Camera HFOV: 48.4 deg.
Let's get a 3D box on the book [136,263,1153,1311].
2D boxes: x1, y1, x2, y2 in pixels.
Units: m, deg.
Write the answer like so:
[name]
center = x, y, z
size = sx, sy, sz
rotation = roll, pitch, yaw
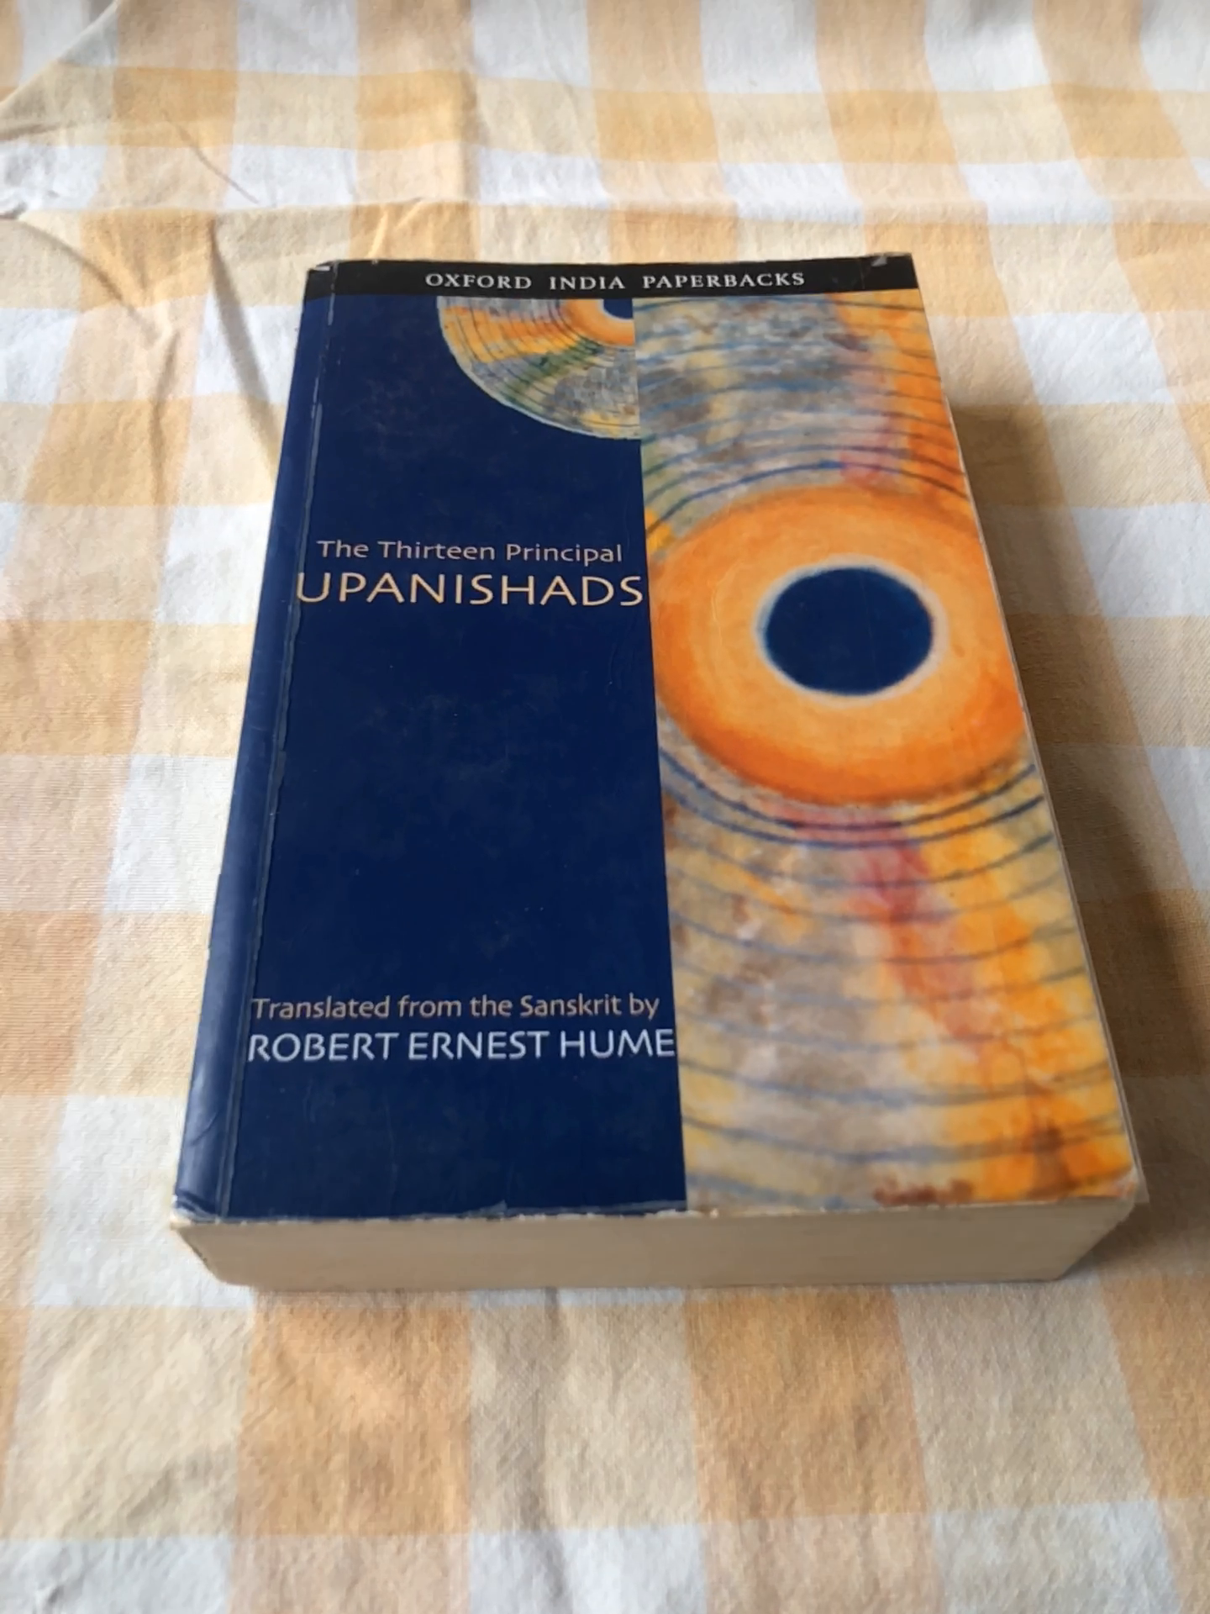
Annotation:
[book]
center = 0.003, -0.020, 0.258
size = 0.140, 0.040, 0.211
rotation = -1, 58, -3
